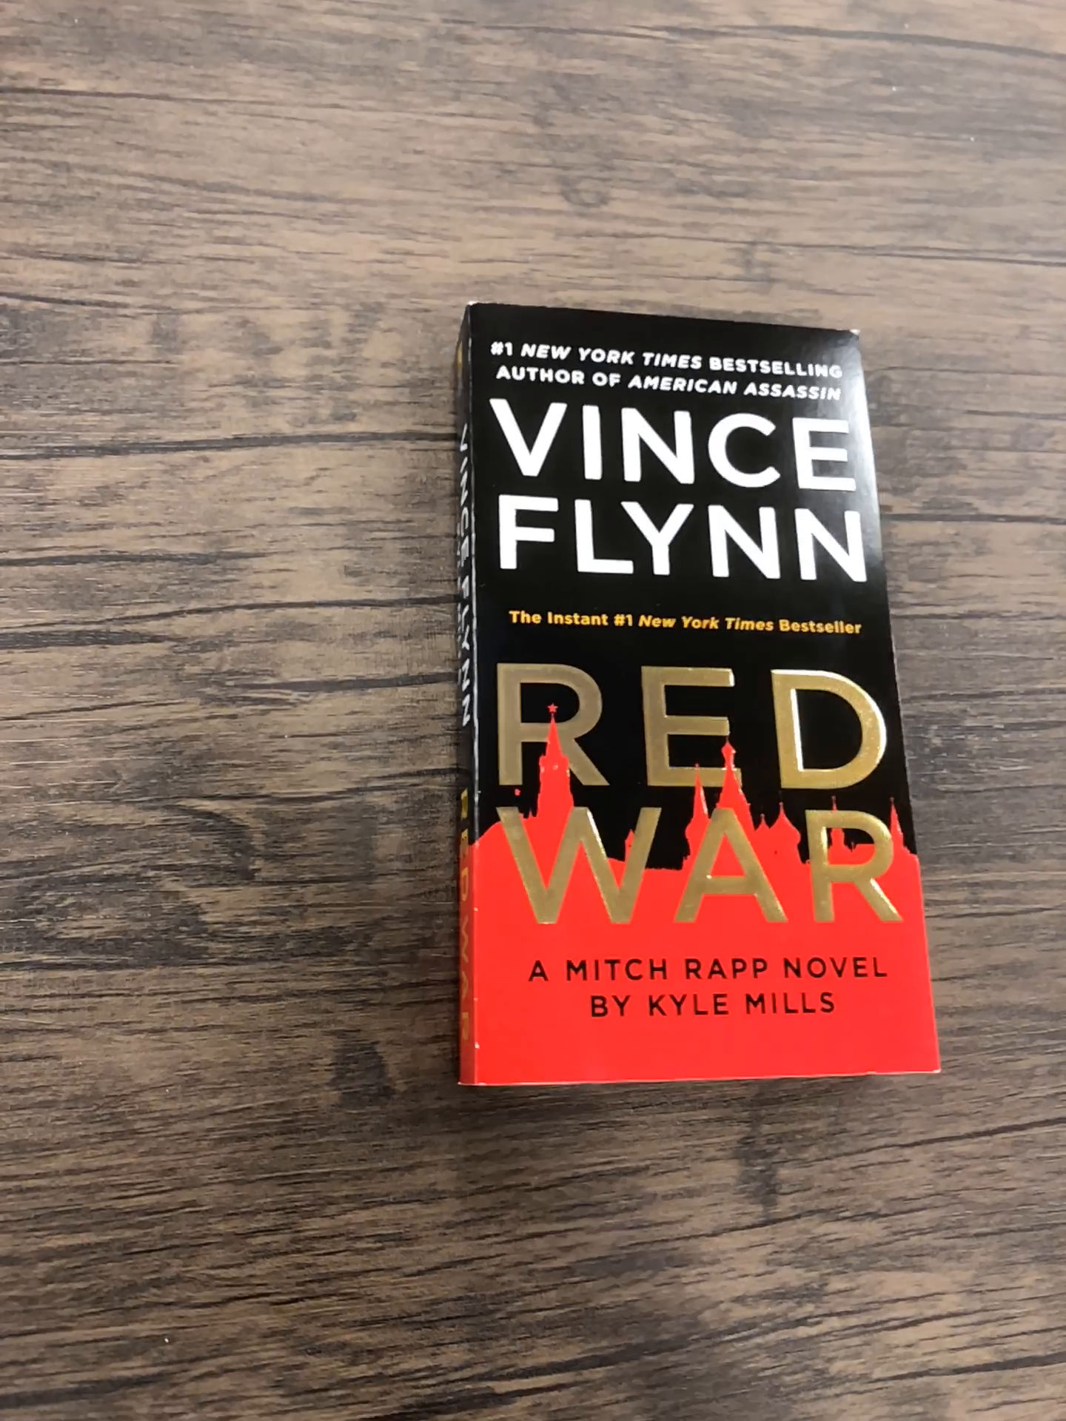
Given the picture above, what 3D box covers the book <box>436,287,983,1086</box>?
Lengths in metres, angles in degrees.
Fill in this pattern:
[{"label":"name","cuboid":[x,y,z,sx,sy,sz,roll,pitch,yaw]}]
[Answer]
[{"label":"book","cuboid":[0.035,-0.009,0.284,0.110,0.030,0.183,1,72,-11]}]
